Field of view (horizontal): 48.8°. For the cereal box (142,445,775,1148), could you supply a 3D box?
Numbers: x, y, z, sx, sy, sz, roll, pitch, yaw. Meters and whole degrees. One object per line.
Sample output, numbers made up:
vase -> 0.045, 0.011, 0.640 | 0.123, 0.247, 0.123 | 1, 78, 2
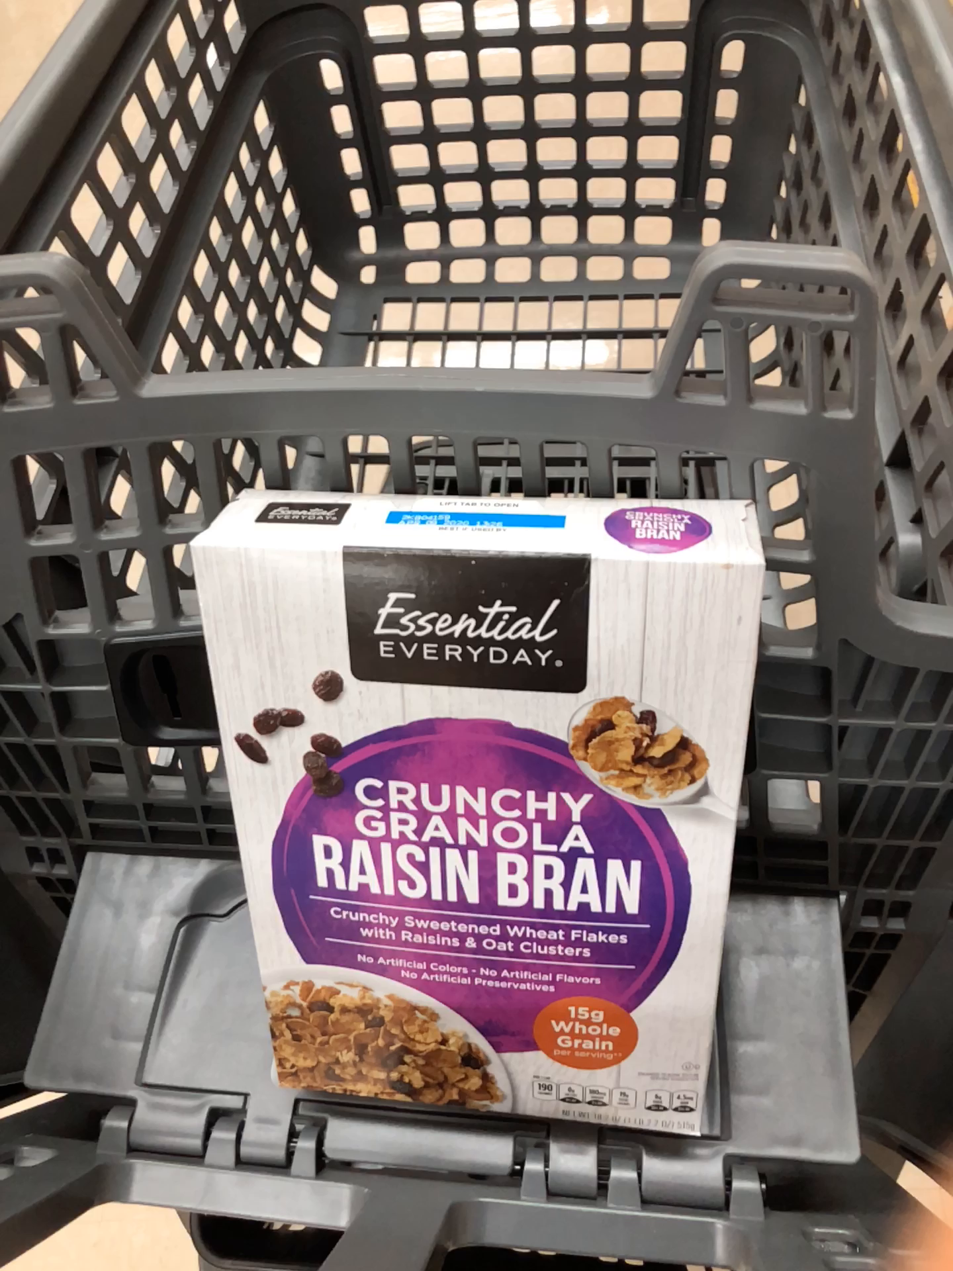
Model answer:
cereal box -> -0.001, 0.071, 0.422 | 0.200, 0.280, 0.070 | 2, 28, 8
